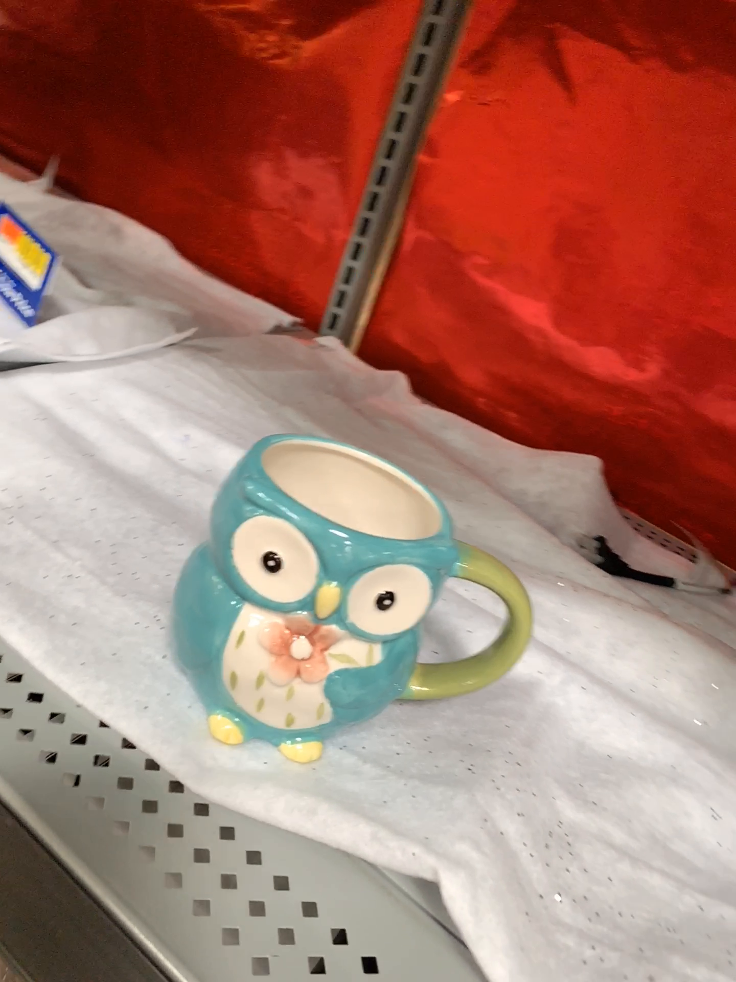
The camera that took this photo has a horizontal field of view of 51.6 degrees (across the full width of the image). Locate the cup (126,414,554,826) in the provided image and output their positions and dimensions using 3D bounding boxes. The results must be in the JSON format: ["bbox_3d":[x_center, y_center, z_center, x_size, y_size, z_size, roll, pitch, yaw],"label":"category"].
[{"bbox_3d":[-0.011,0.047,0.311,0.127,0.087,0.108,18,26,-8],"label":"cup"}]
